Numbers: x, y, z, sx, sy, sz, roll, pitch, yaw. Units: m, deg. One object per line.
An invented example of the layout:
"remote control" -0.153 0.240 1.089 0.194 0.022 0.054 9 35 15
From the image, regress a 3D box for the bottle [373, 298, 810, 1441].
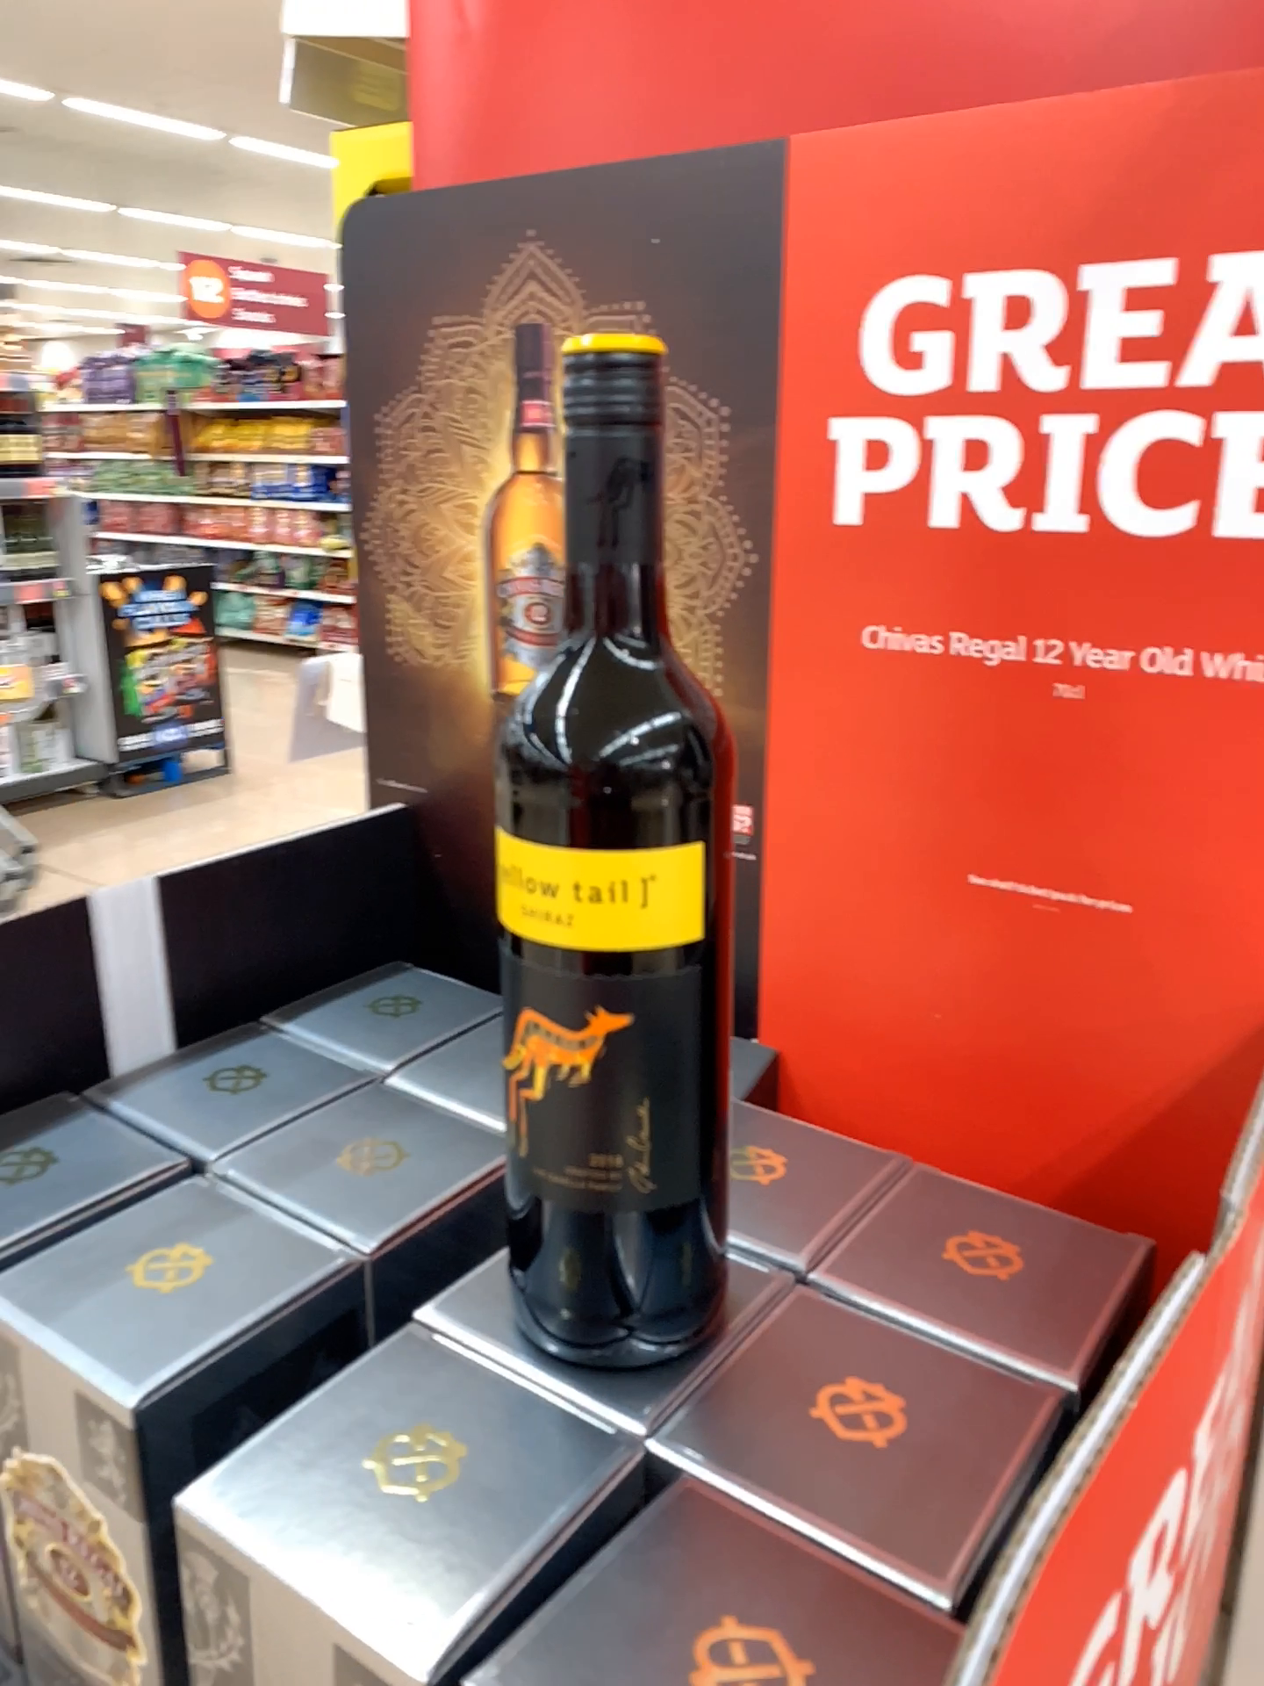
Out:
"bottle" -0.010 0.009 0.386 0.087 0.308 0.081 0 16 0
